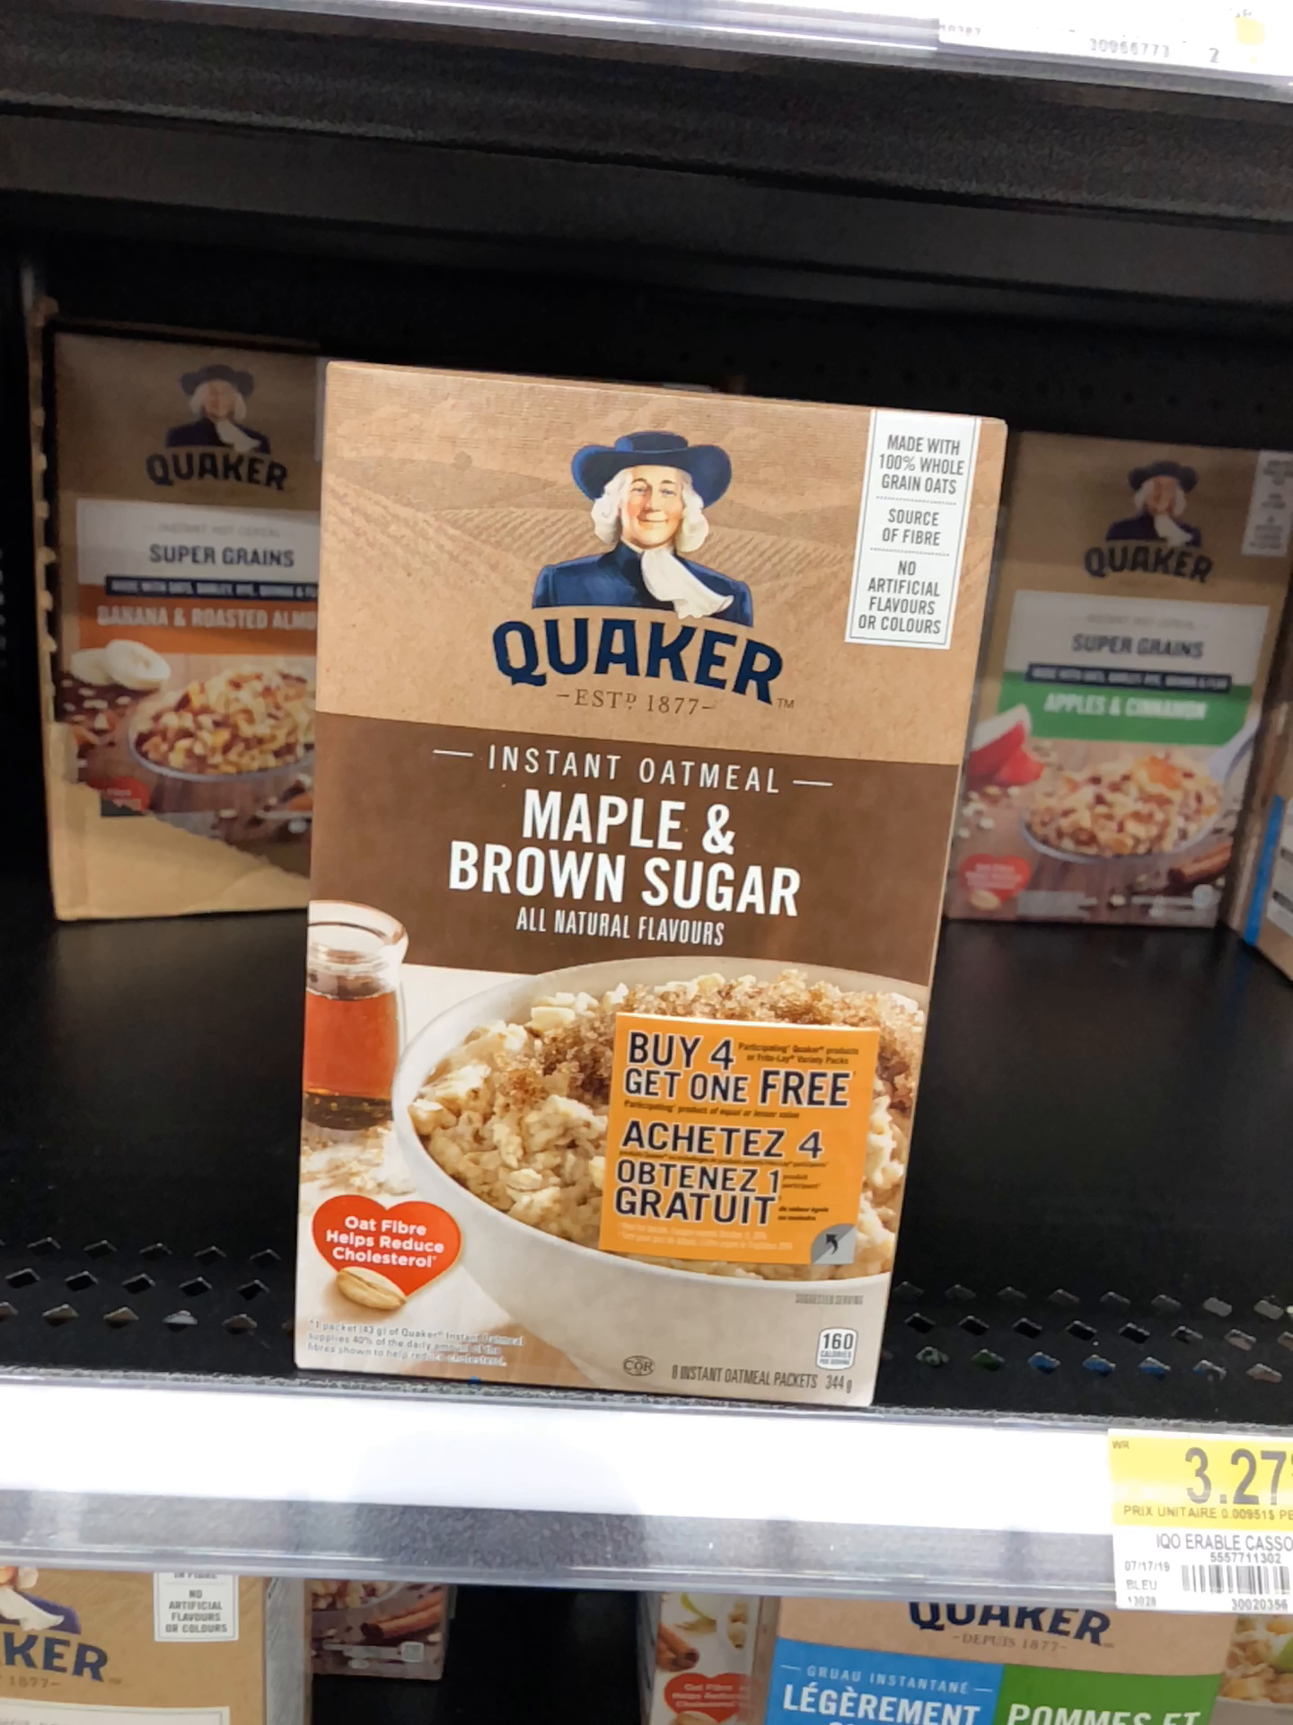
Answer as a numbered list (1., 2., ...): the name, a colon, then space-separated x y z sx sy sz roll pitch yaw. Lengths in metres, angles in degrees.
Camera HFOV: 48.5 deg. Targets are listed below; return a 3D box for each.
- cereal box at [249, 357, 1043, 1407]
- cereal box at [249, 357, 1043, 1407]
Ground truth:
1. cereal box: -0.007 0.005 0.290 0.130 0.189 0.060 4 16 -1
2. cereal box: -0.007 0.005 0.290 0.130 0.189 0.060 4 16 -1
